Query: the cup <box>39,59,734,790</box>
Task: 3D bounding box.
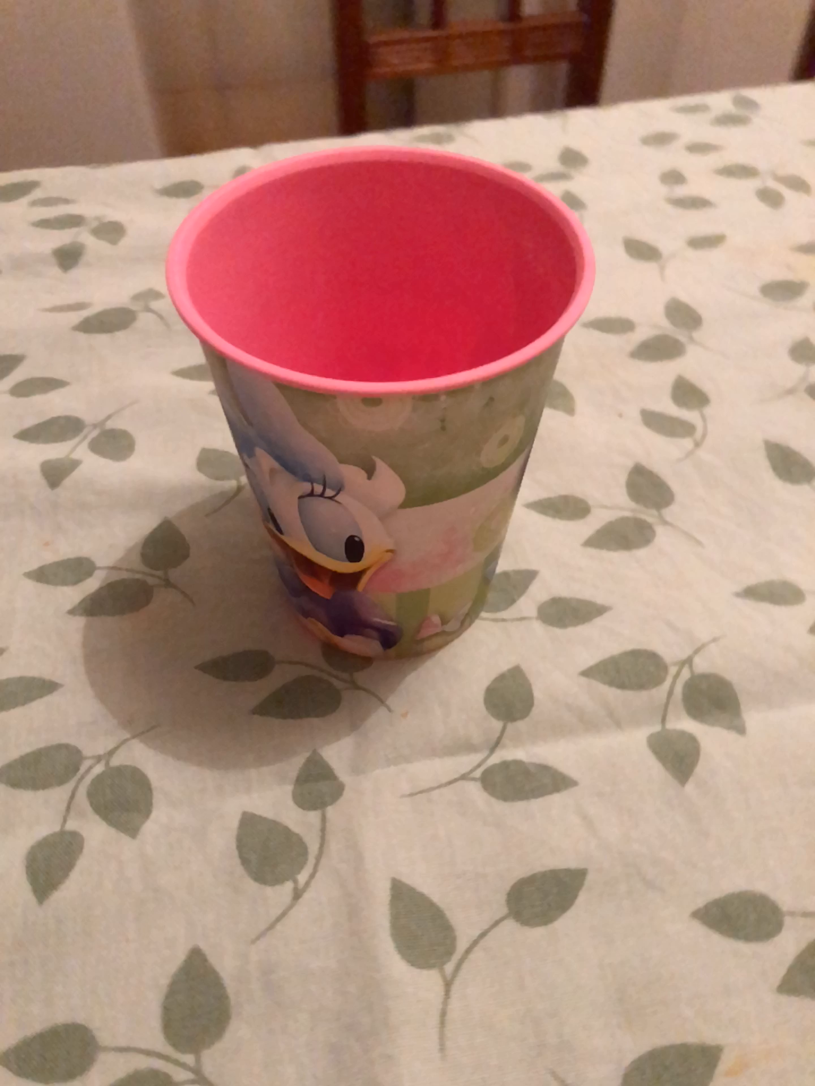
[{"bbox_3d":[-0.006,-0.030,0.230,0.100,0.119,0.100,0,50,0],"label":"cup"}]
